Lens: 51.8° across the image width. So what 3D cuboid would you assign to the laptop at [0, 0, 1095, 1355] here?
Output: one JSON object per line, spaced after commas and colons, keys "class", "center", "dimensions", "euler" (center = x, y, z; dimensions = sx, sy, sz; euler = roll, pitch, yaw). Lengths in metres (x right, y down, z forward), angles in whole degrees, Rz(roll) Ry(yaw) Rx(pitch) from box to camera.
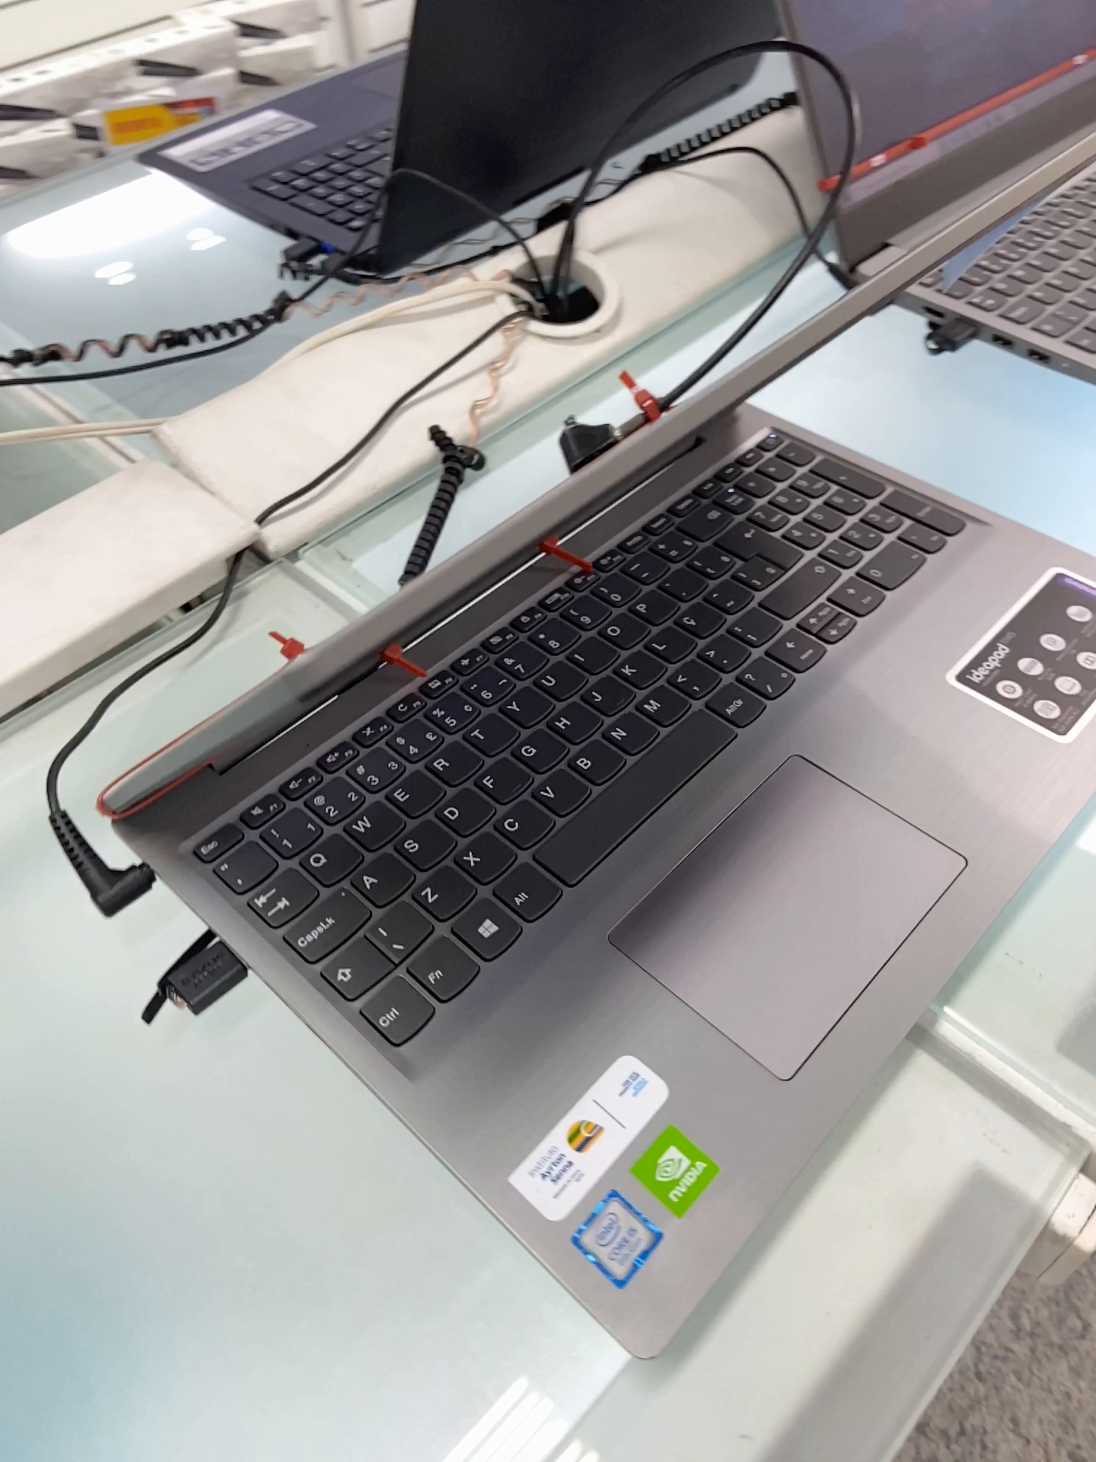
{"class": "laptop", "center": [0.054, -0.063, 0.359], "dimensions": [0.244, 0.175, 0.361], "euler": [35, 58, 28]}
